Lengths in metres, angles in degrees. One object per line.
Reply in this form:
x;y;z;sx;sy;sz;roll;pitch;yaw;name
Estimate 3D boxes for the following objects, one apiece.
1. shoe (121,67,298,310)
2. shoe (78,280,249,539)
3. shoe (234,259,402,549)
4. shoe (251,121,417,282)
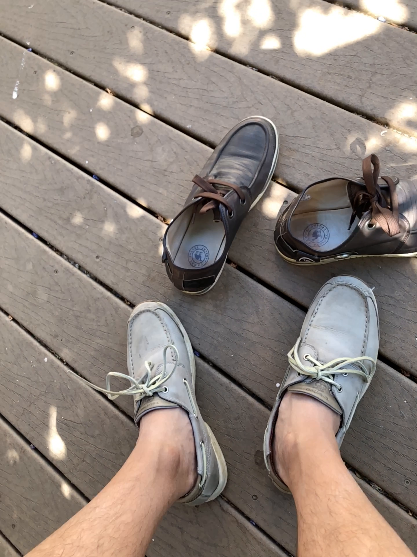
0.008;-0.120;0.658;0.110;0.111;0.303;24;90;20;shoe
-0.063;0.169;0.643;0.110;0.111;0.303;-25;75;13;shoe
0.141;0.143;0.578;0.110;0.111;0.303;16;87;20;shoe
0.220;-0.082;0.580;0.303;0.111;0.110;-10;79;17;shoe
